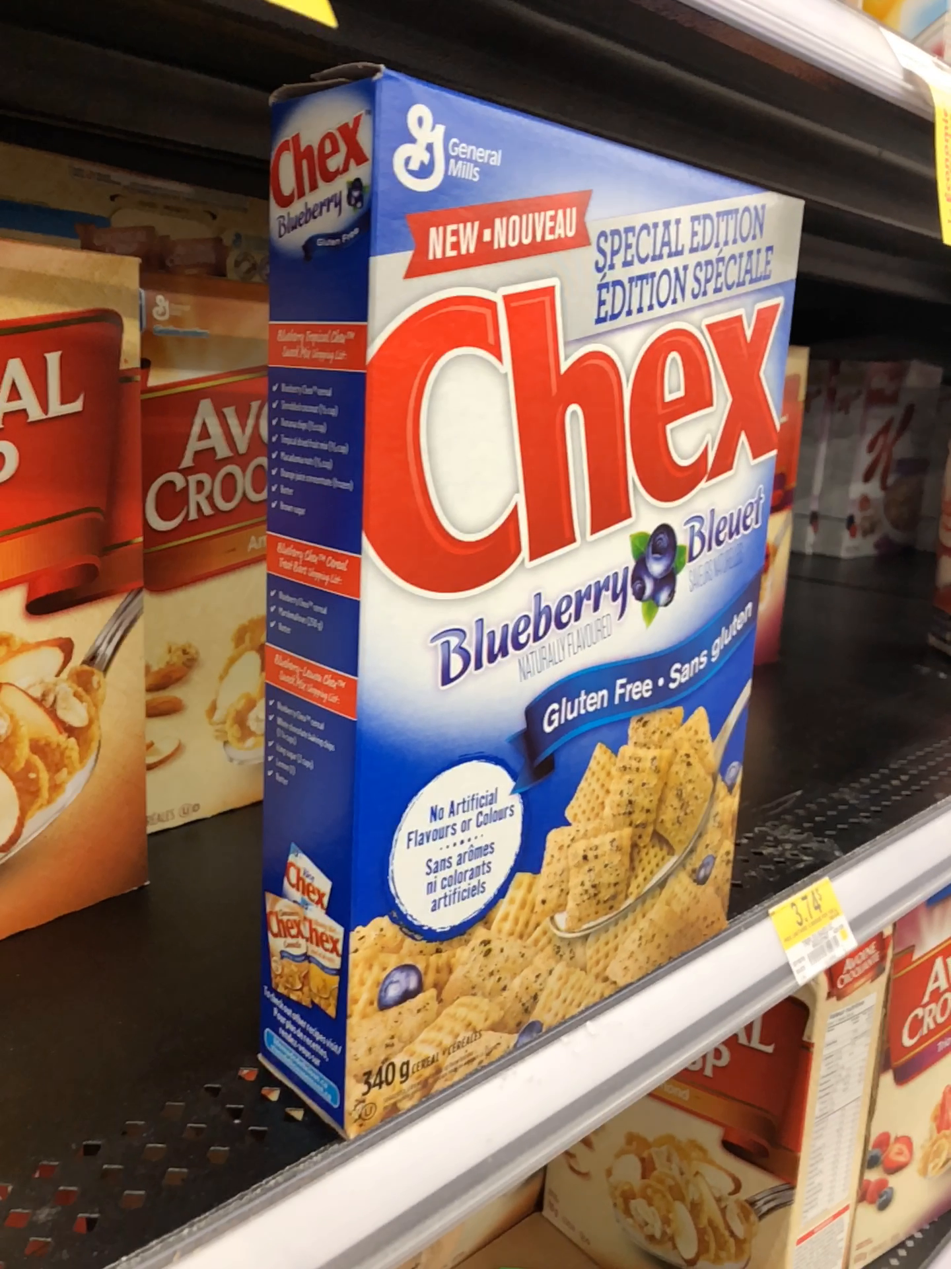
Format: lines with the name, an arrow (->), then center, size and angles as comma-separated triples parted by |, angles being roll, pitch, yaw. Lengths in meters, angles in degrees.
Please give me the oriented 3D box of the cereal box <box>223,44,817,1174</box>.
cereal box -> 0.020, -0.009, 0.354 | 0.200, 0.289, 0.060 | -9, 17, -43
